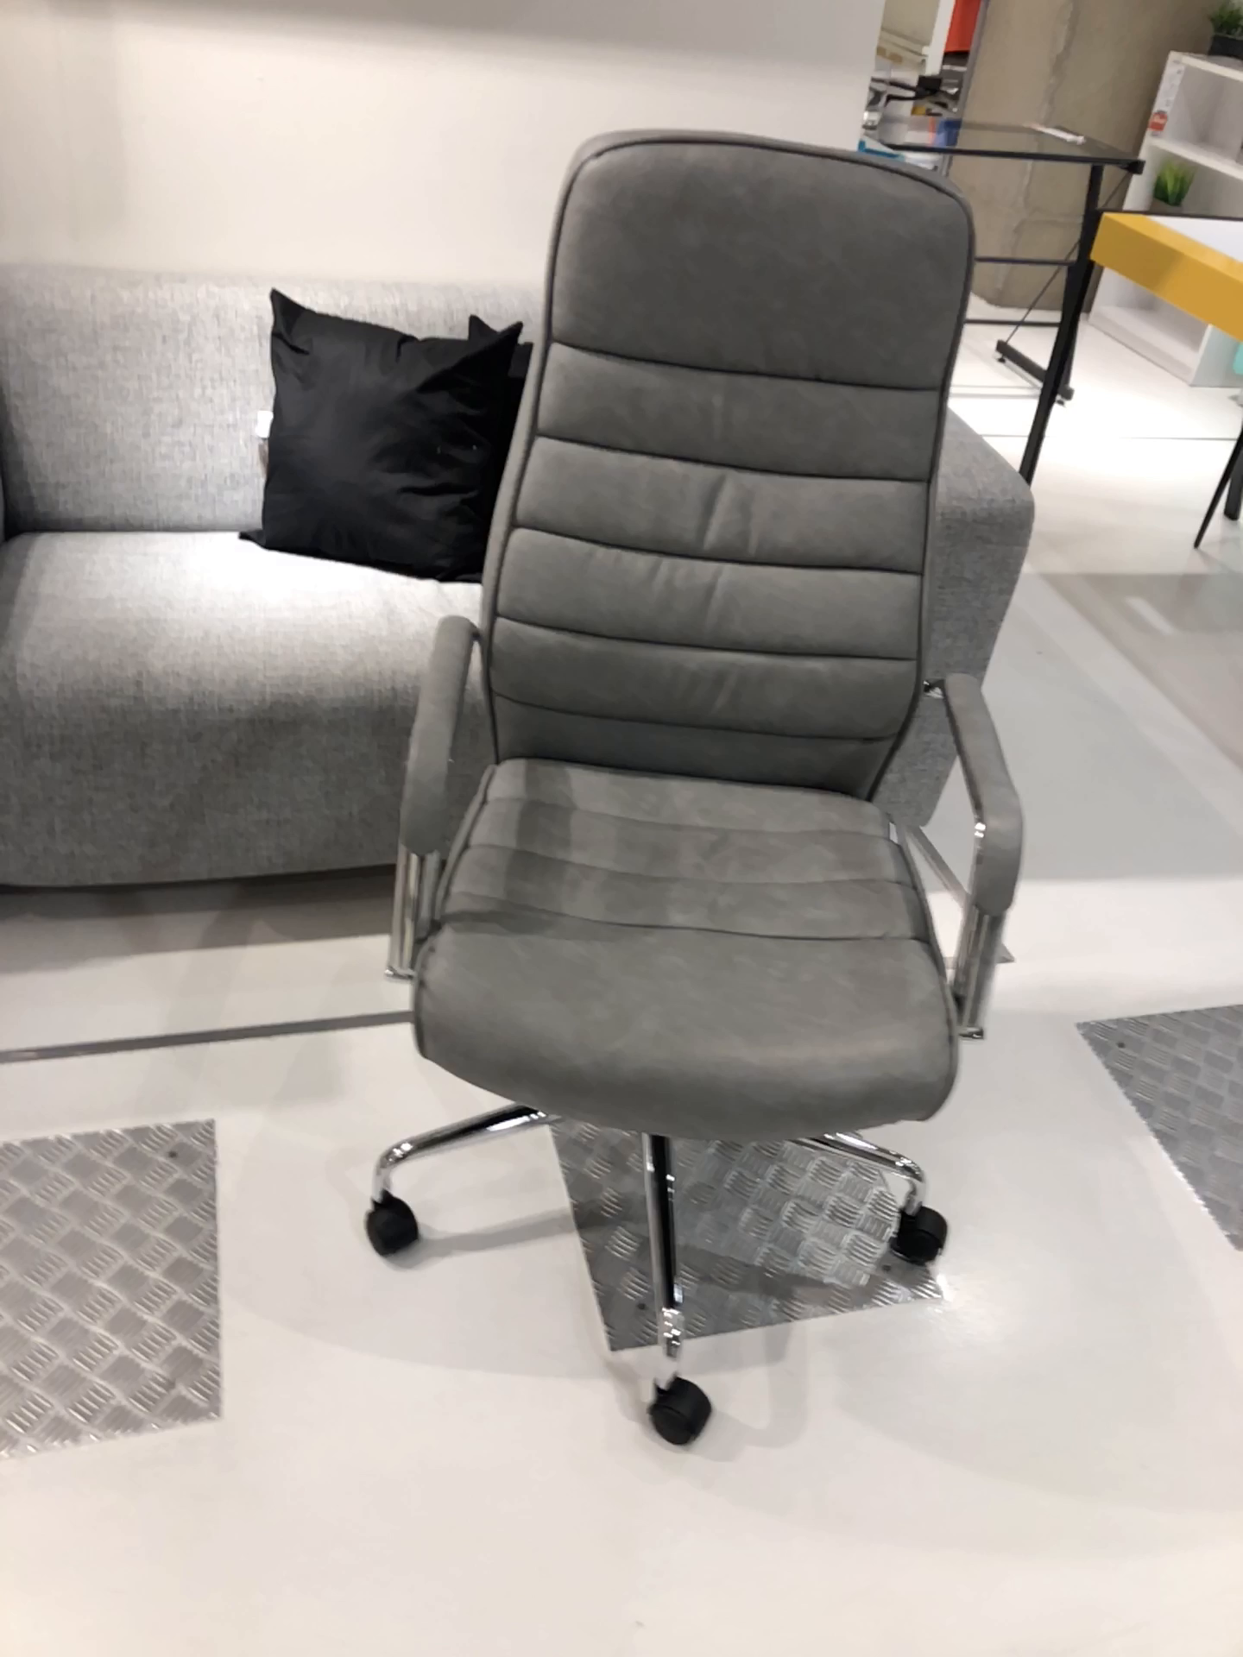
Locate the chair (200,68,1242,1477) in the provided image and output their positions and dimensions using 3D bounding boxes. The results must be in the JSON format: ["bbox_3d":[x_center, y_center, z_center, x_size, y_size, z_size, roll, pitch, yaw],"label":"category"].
[{"bbox_3d":[0.098,-0.041,1.307,0.720,1.051,0.726,6,35,-2],"label":"chair"}]
